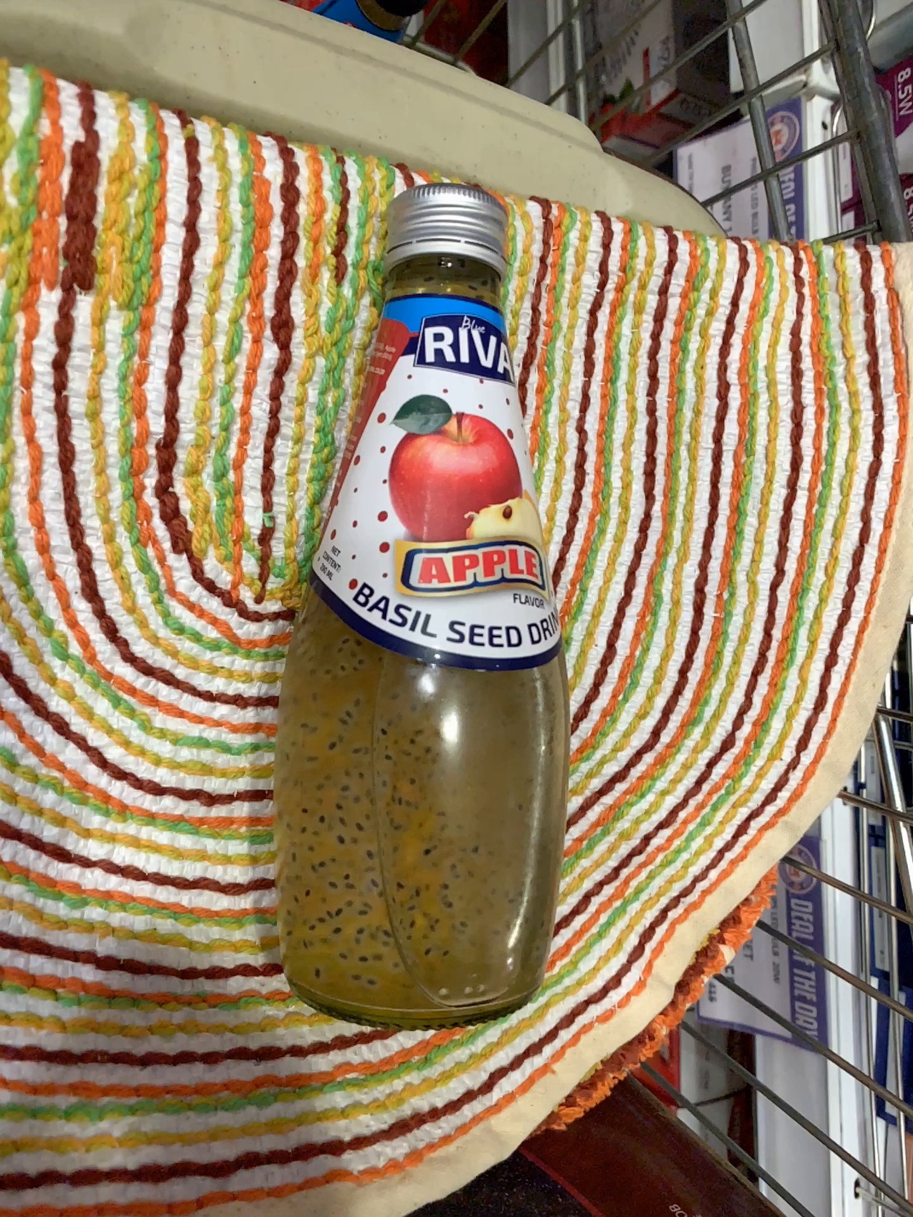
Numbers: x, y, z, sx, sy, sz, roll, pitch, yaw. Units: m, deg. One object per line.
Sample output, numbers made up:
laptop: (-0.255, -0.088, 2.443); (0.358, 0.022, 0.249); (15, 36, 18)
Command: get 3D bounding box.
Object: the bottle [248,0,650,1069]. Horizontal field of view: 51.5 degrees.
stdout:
bottle: (-0.003, -0.017, 0.210); (0.070, 0.050, 0.200); (3, 83, -28)
